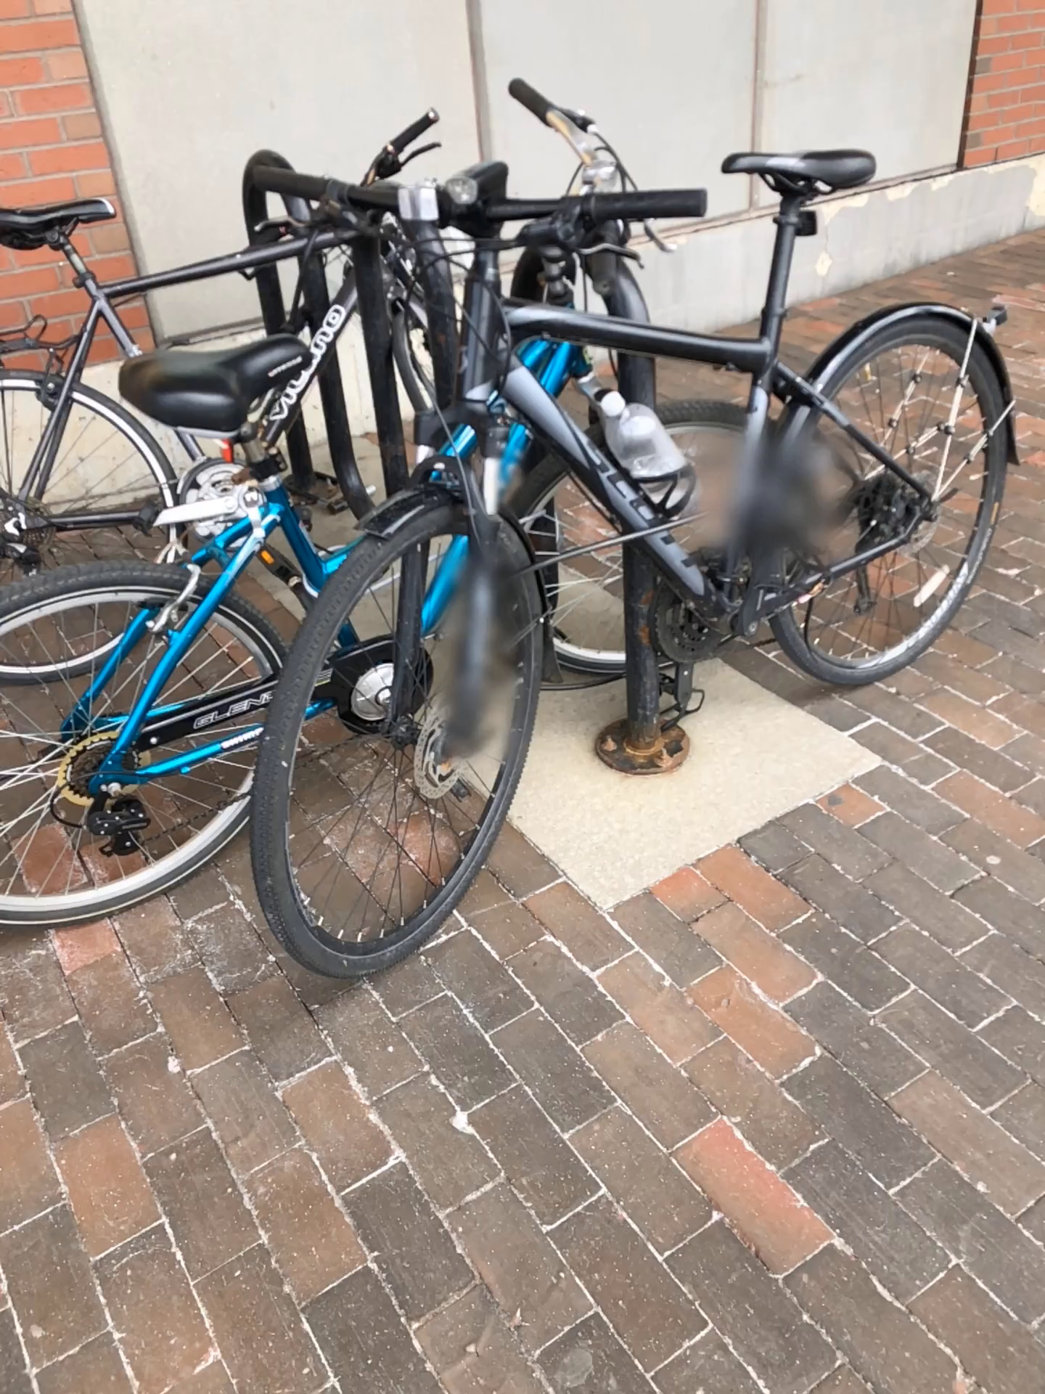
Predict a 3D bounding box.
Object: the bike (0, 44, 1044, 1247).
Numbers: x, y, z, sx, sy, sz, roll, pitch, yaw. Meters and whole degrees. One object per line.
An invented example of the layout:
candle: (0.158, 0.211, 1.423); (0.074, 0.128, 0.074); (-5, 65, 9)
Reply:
bike: (0.186, -0.262, 1.634); (1.515, 0.939, 0.674); (-30, 41, -30)
